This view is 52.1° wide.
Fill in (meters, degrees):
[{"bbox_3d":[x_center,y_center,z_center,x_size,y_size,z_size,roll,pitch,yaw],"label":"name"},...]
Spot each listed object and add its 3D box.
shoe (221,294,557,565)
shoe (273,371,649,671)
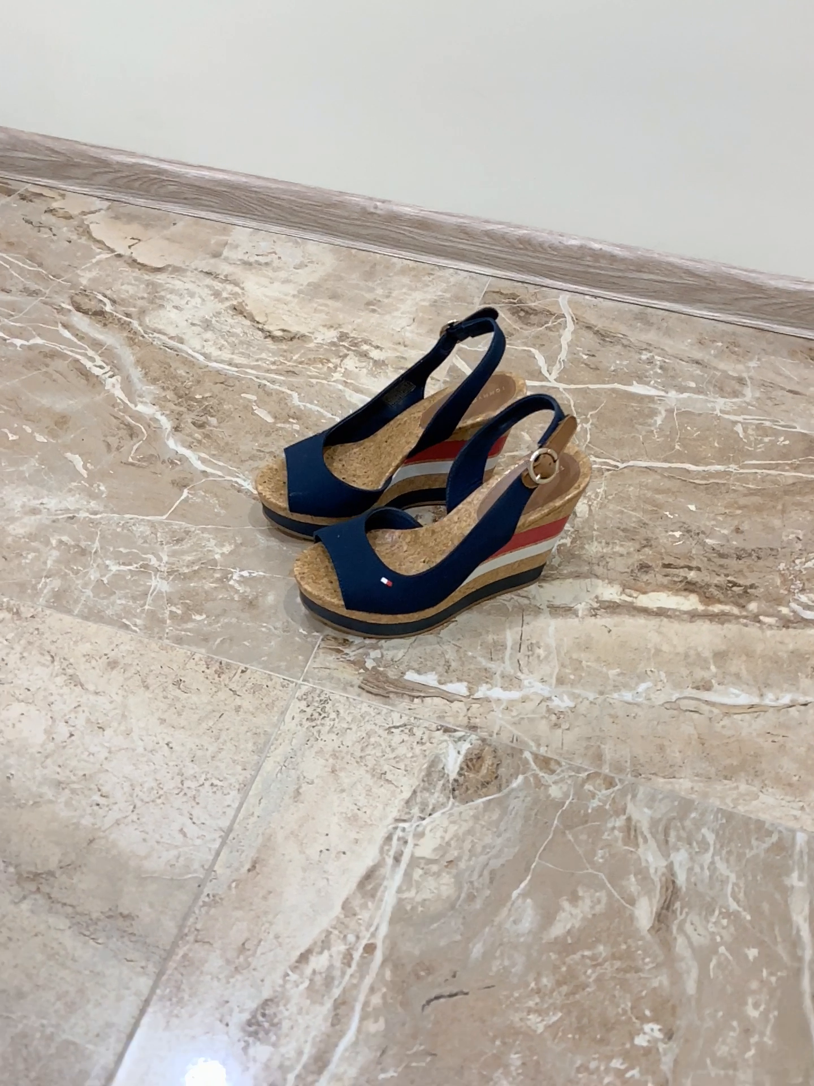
[{"bbox_3d":[-0.017,-0.084,0.614,0.210,0.145,0.090,-10,49,-14],"label":"shoe"},{"bbox_3d":[0.028,-0.015,0.555,0.210,0.145,0.090,-10,49,-14],"label":"shoe"}]
